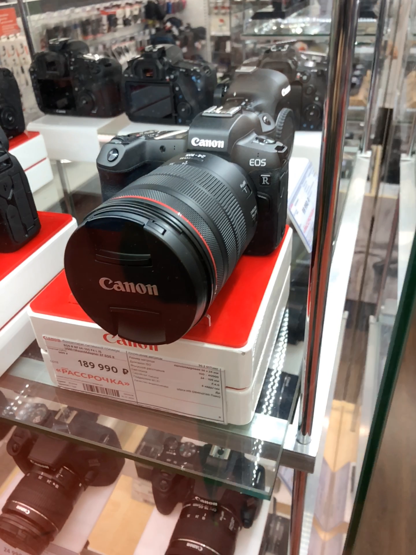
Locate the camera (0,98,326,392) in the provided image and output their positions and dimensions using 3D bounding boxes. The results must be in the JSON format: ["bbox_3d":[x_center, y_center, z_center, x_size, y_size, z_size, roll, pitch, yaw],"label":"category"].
[{"bbox_3d":[-0.013,-0.041,0.294,0.144,0.093,0.181,8,35,17],"label":"camera"}]
